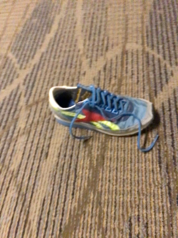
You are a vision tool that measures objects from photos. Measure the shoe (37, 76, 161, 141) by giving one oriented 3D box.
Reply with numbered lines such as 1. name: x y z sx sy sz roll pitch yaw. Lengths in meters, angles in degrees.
1. shoe: 0.028 -0.027 0.468 0.259 0.095 0.101 5 62 12
